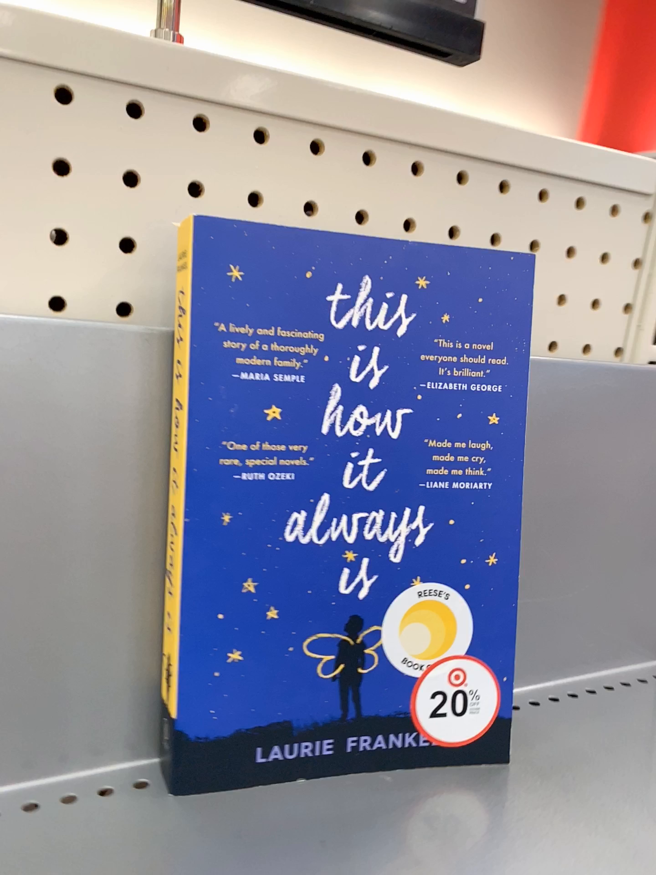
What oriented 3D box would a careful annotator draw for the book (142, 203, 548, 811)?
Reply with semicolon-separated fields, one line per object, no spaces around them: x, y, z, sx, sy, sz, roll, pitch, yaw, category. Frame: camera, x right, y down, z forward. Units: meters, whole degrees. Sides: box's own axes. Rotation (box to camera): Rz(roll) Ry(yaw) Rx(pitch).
0.004;0.028;0.271;0.140;0.209;0.044;3;4;-16;book
